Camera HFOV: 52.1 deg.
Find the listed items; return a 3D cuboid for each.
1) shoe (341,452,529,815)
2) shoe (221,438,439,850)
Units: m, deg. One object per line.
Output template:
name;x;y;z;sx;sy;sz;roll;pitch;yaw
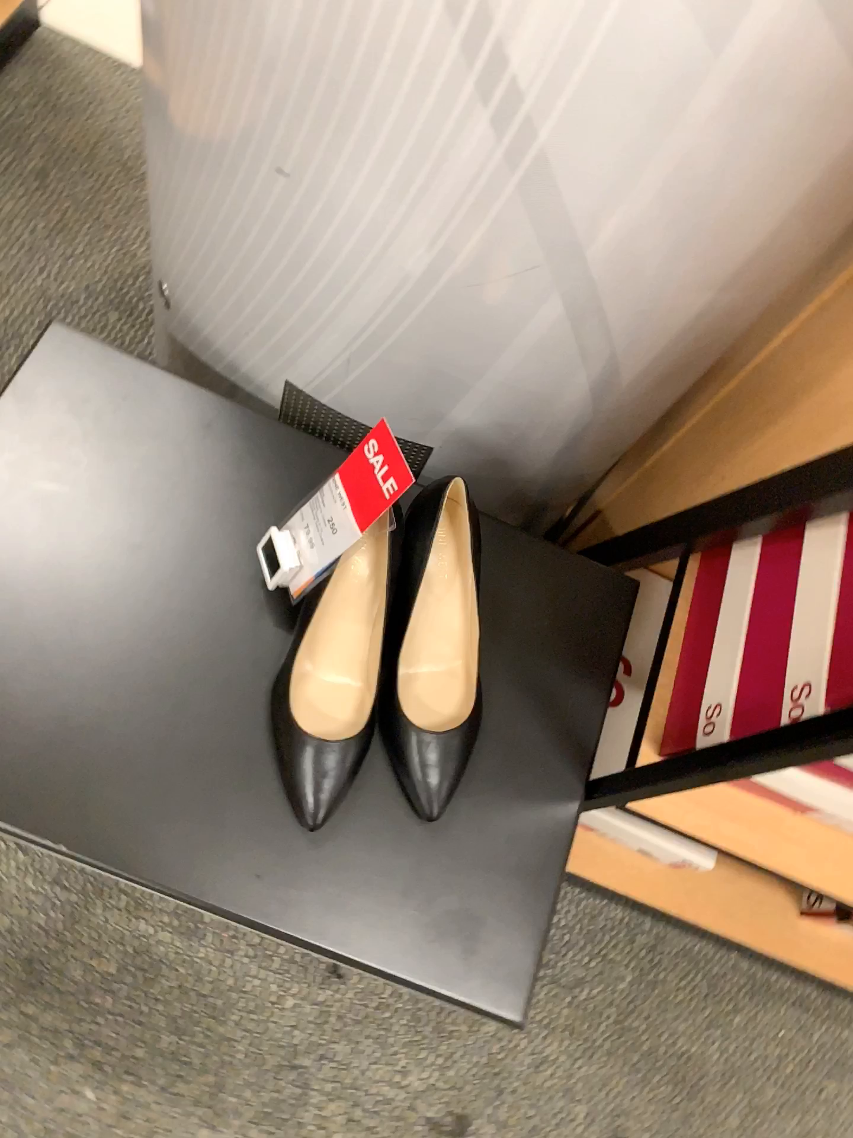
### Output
shoe;-0.001;0.064;0.719;0.100;0.190;0.250;5;69;-13
shoe;-0.075;0.067;0.646;0.100;0.190;0.250;11;68;-11
